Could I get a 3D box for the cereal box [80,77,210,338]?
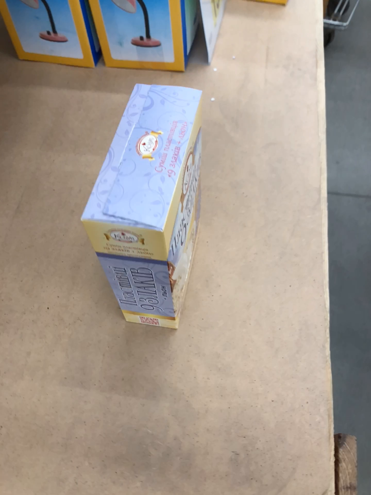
[{"bbox_3d":[-0.031,-0.027,0.462,0.070,0.239,0.181,11,61,5],"label":"cereal box"}]
